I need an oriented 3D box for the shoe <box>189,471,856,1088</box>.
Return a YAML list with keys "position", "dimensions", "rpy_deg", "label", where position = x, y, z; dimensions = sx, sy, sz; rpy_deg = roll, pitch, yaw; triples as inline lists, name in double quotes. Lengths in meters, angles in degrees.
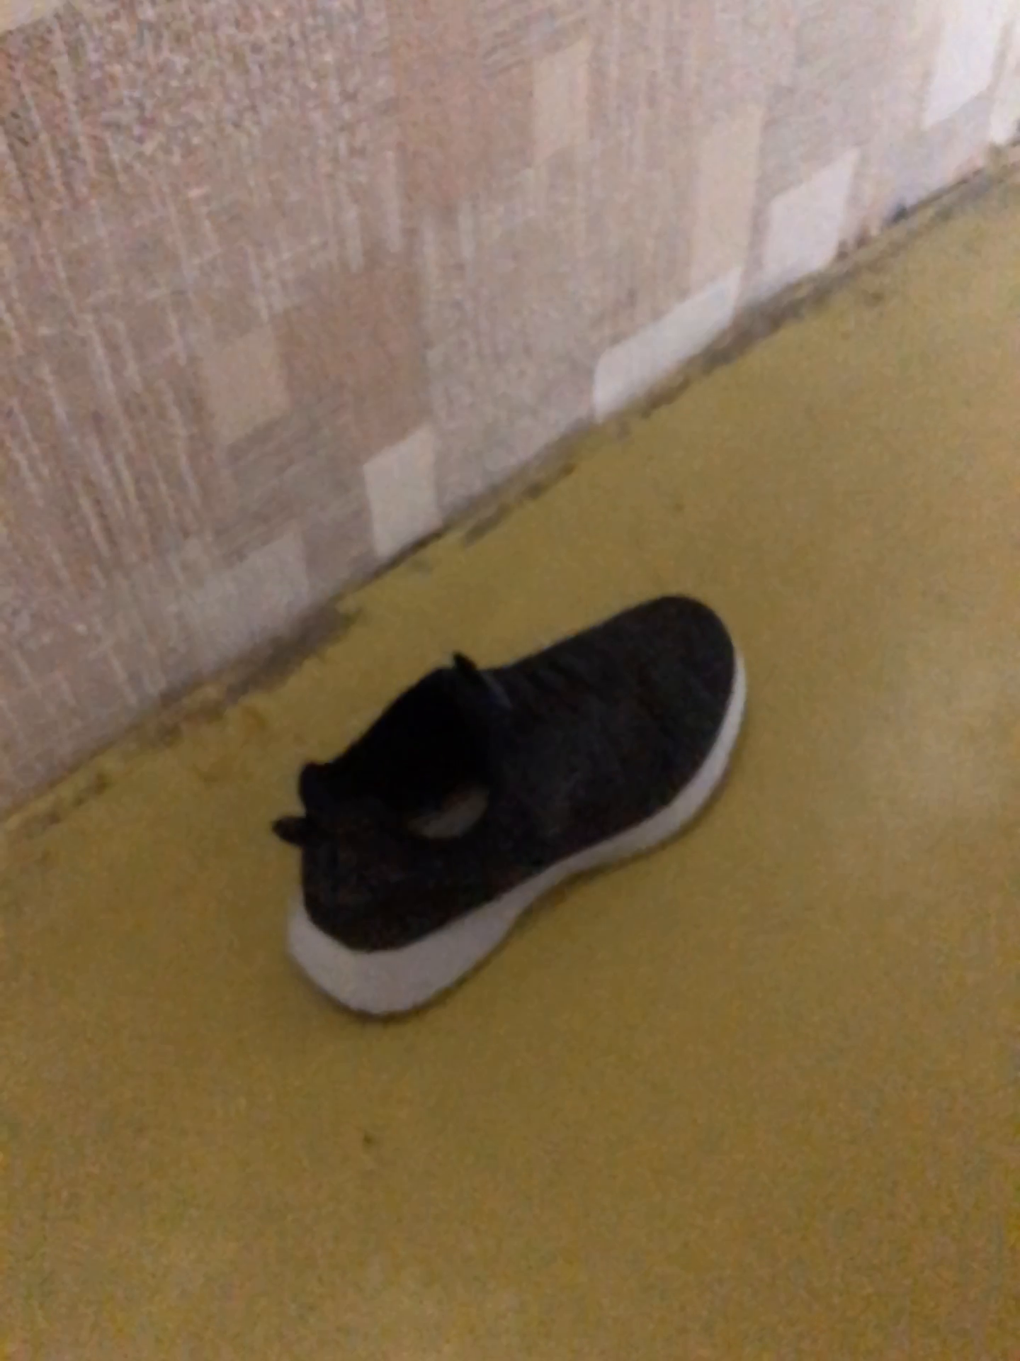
- position: [0.018, 0.037, 0.604]
  dimensions: [0.320, 0.120, 0.130]
  rpy_deg: [-34, 55, -25]
  label: "shoe"
